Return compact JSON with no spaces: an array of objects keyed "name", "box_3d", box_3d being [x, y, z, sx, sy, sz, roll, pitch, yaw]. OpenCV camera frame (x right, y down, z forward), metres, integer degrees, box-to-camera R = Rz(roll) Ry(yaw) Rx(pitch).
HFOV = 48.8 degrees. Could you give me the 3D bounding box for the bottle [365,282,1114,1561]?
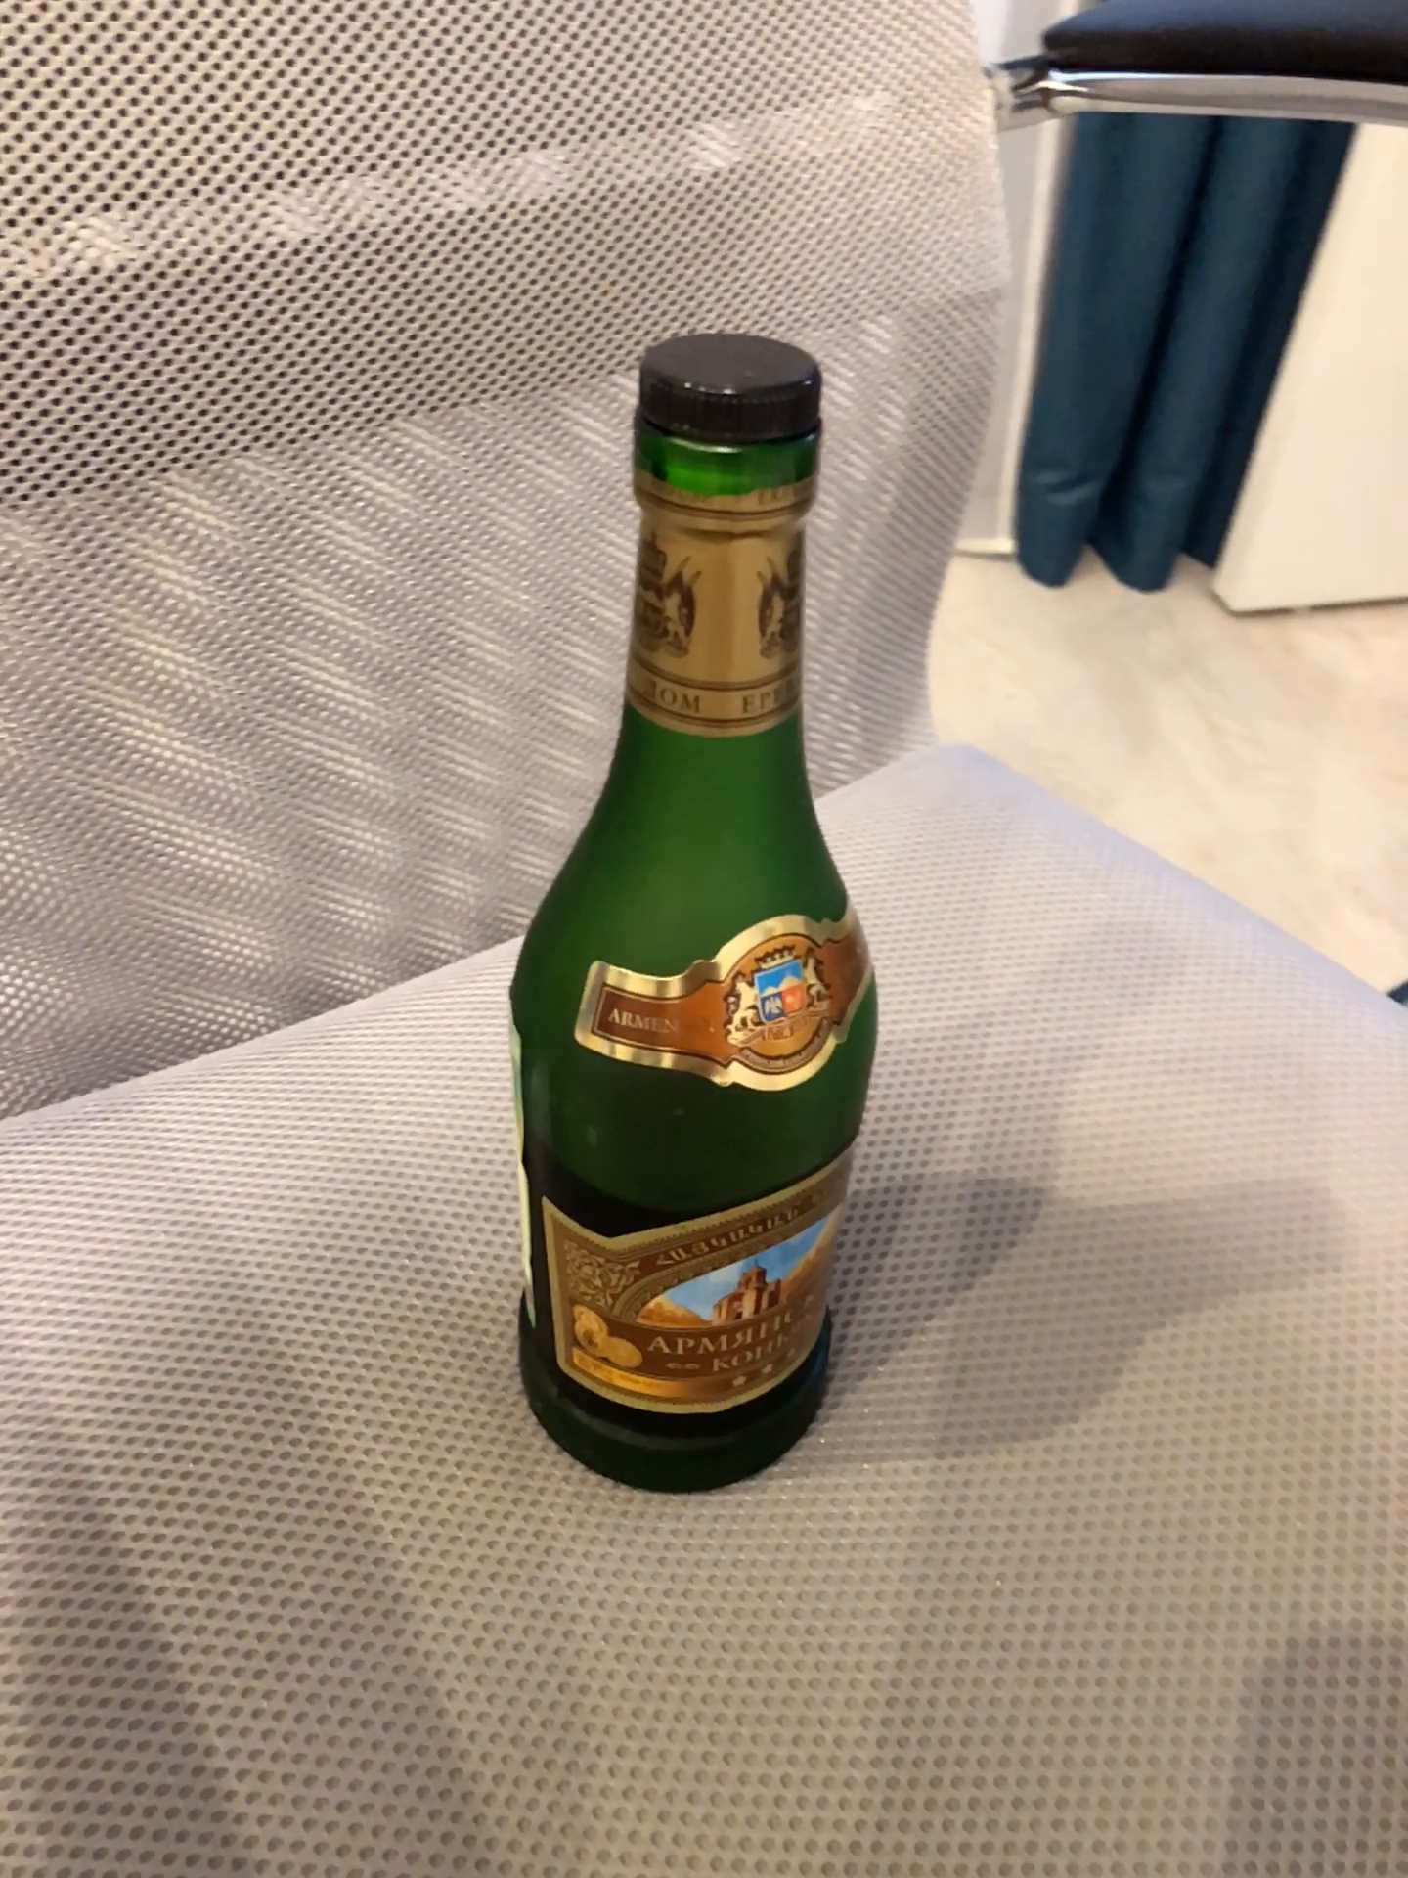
[{"name":"bottle","box_3d":[-0.001,0.015,0.297,0.078,0.238,0.075,1,43,-1]}]
